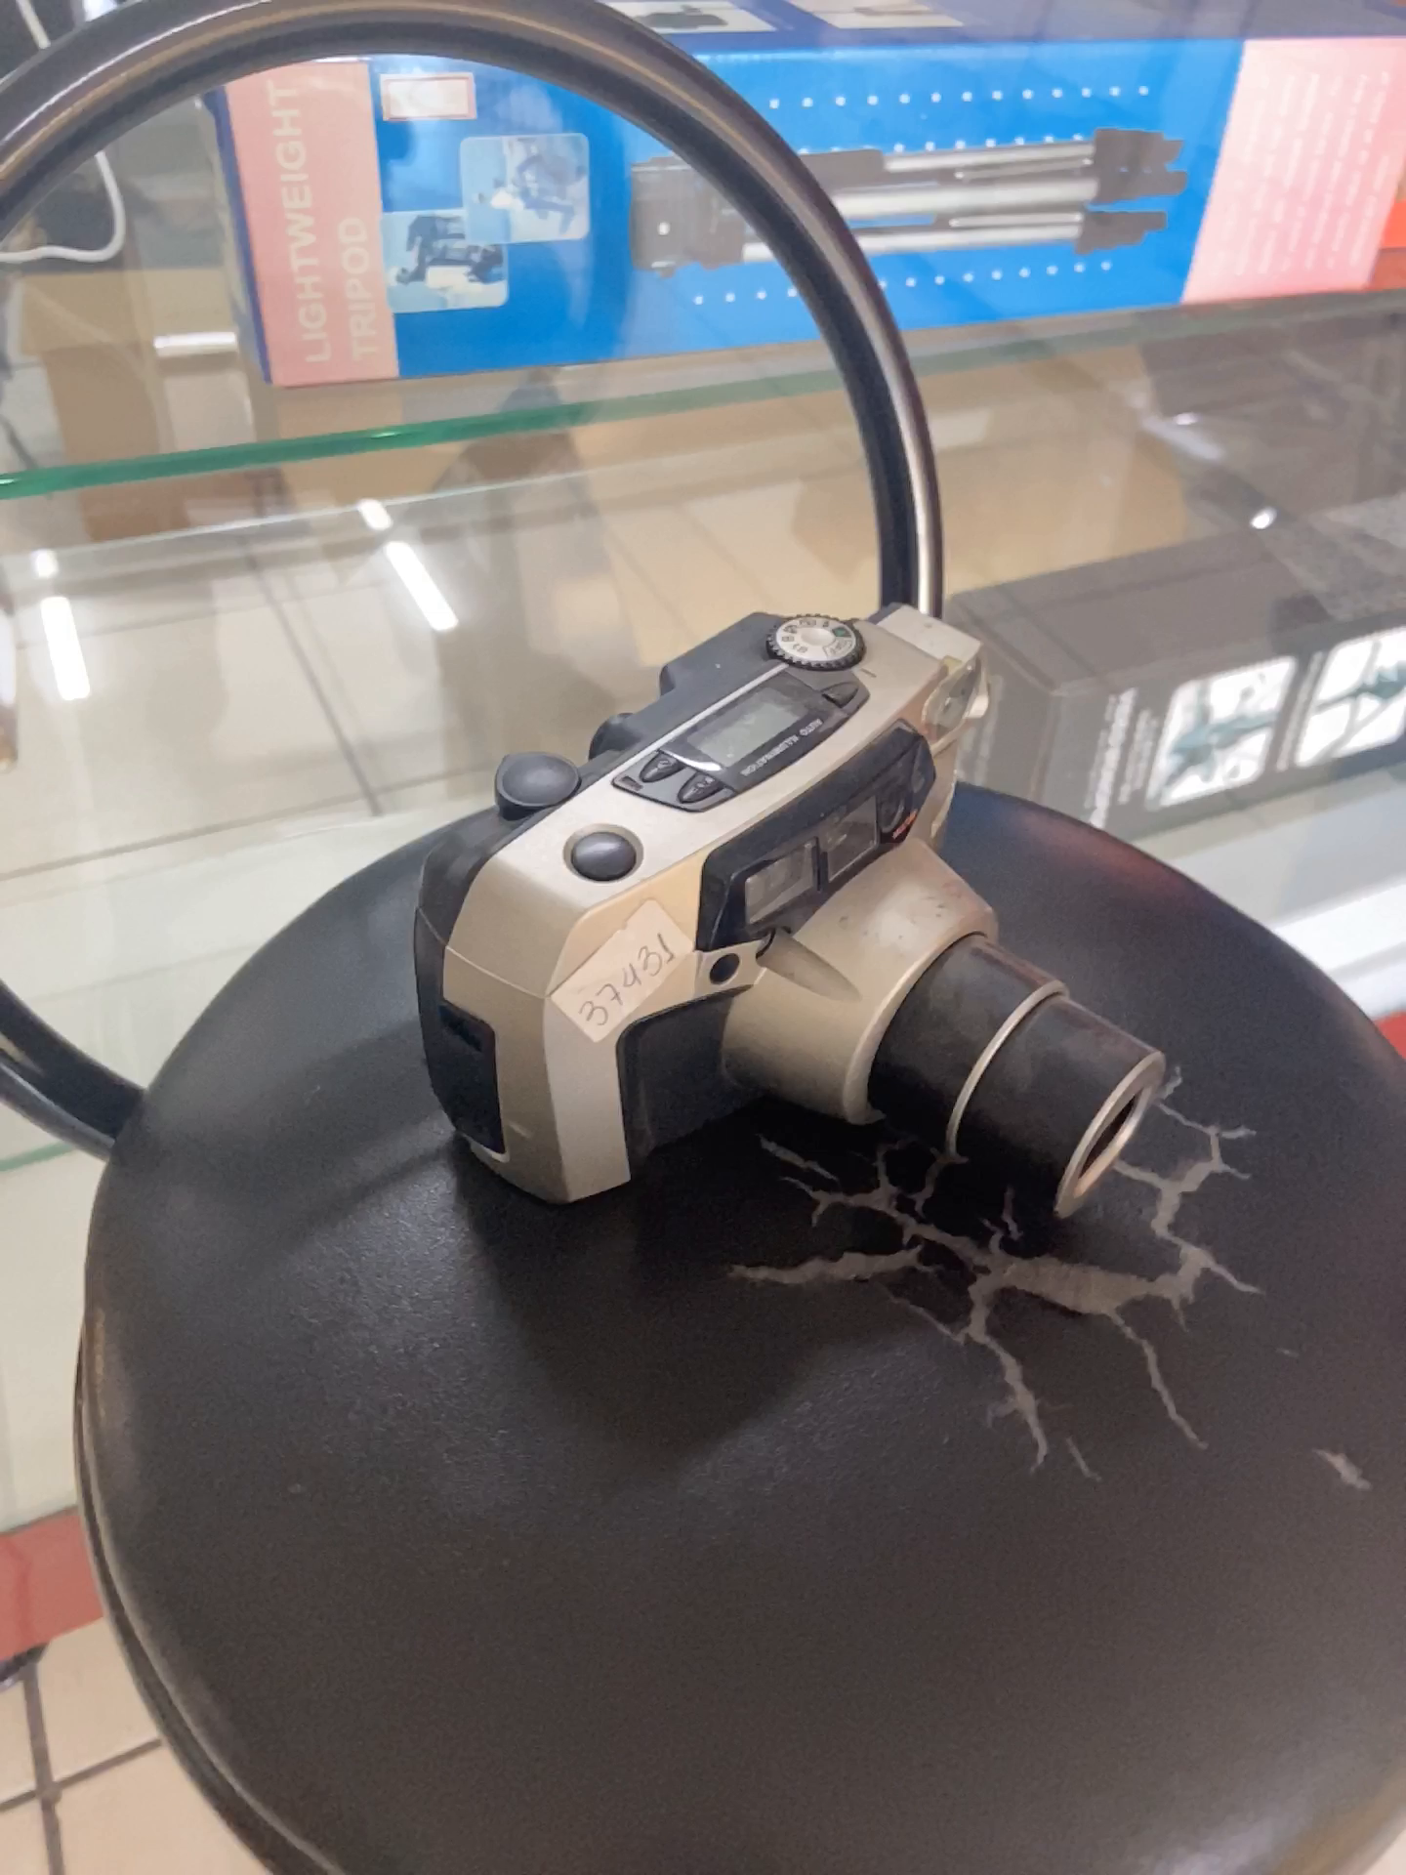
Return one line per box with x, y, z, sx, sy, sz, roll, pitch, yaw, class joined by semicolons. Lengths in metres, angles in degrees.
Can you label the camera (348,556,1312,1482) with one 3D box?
0.026;0.004;0.288;0.120;0.080;0.131;29;48;26;camera
